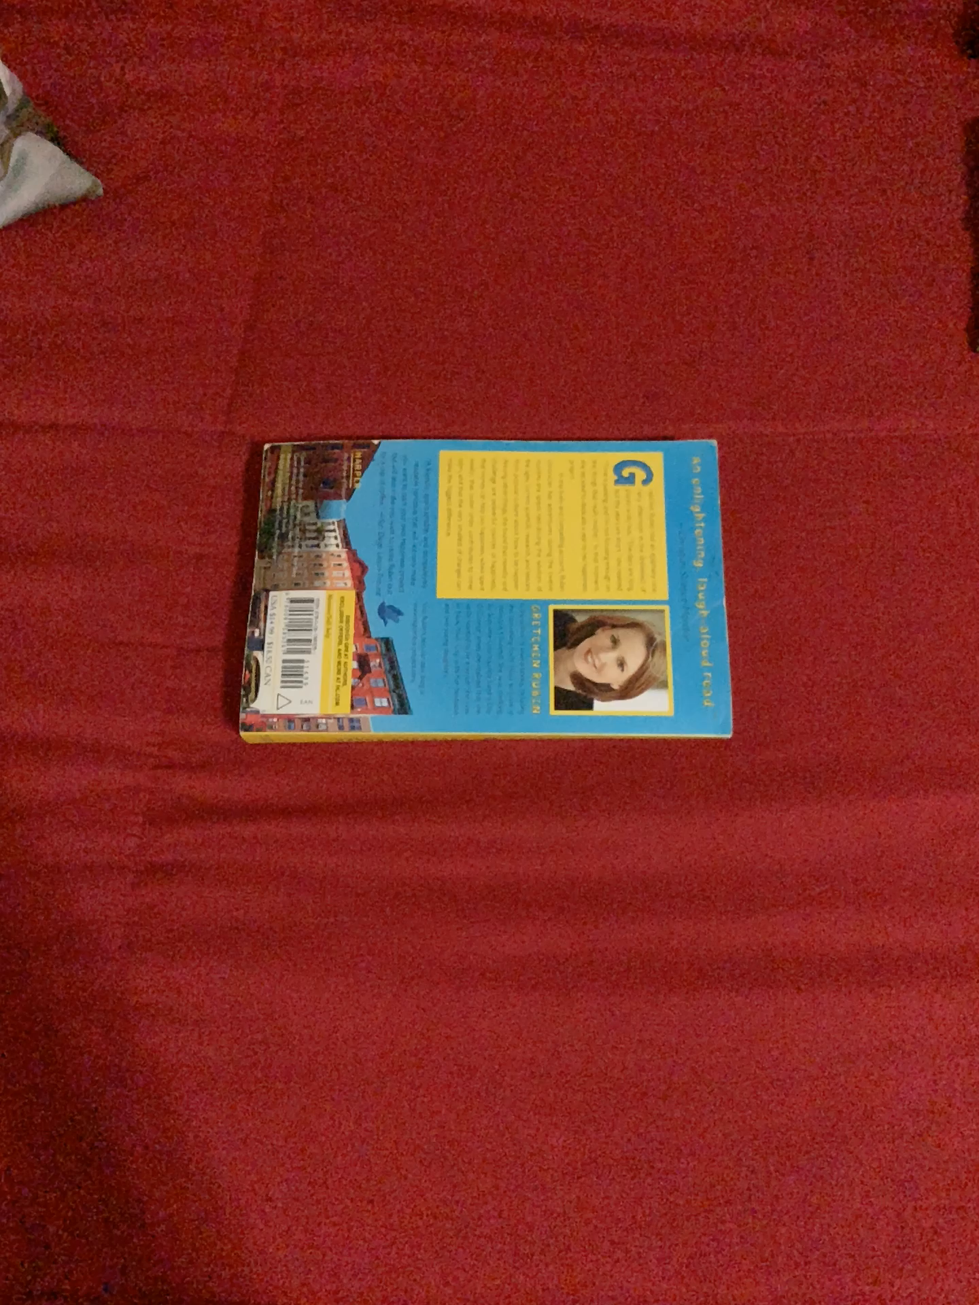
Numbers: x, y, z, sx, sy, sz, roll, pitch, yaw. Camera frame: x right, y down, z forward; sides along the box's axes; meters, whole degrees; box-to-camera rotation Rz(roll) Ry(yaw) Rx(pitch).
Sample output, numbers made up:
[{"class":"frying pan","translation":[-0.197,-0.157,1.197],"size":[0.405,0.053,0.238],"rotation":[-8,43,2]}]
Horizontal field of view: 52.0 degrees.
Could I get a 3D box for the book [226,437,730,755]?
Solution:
[{"class":"book","translation":[-0.004,-0.026,0.436],"size":[0.202,0.033,0.133],"rotation":[1,73,2]}]
